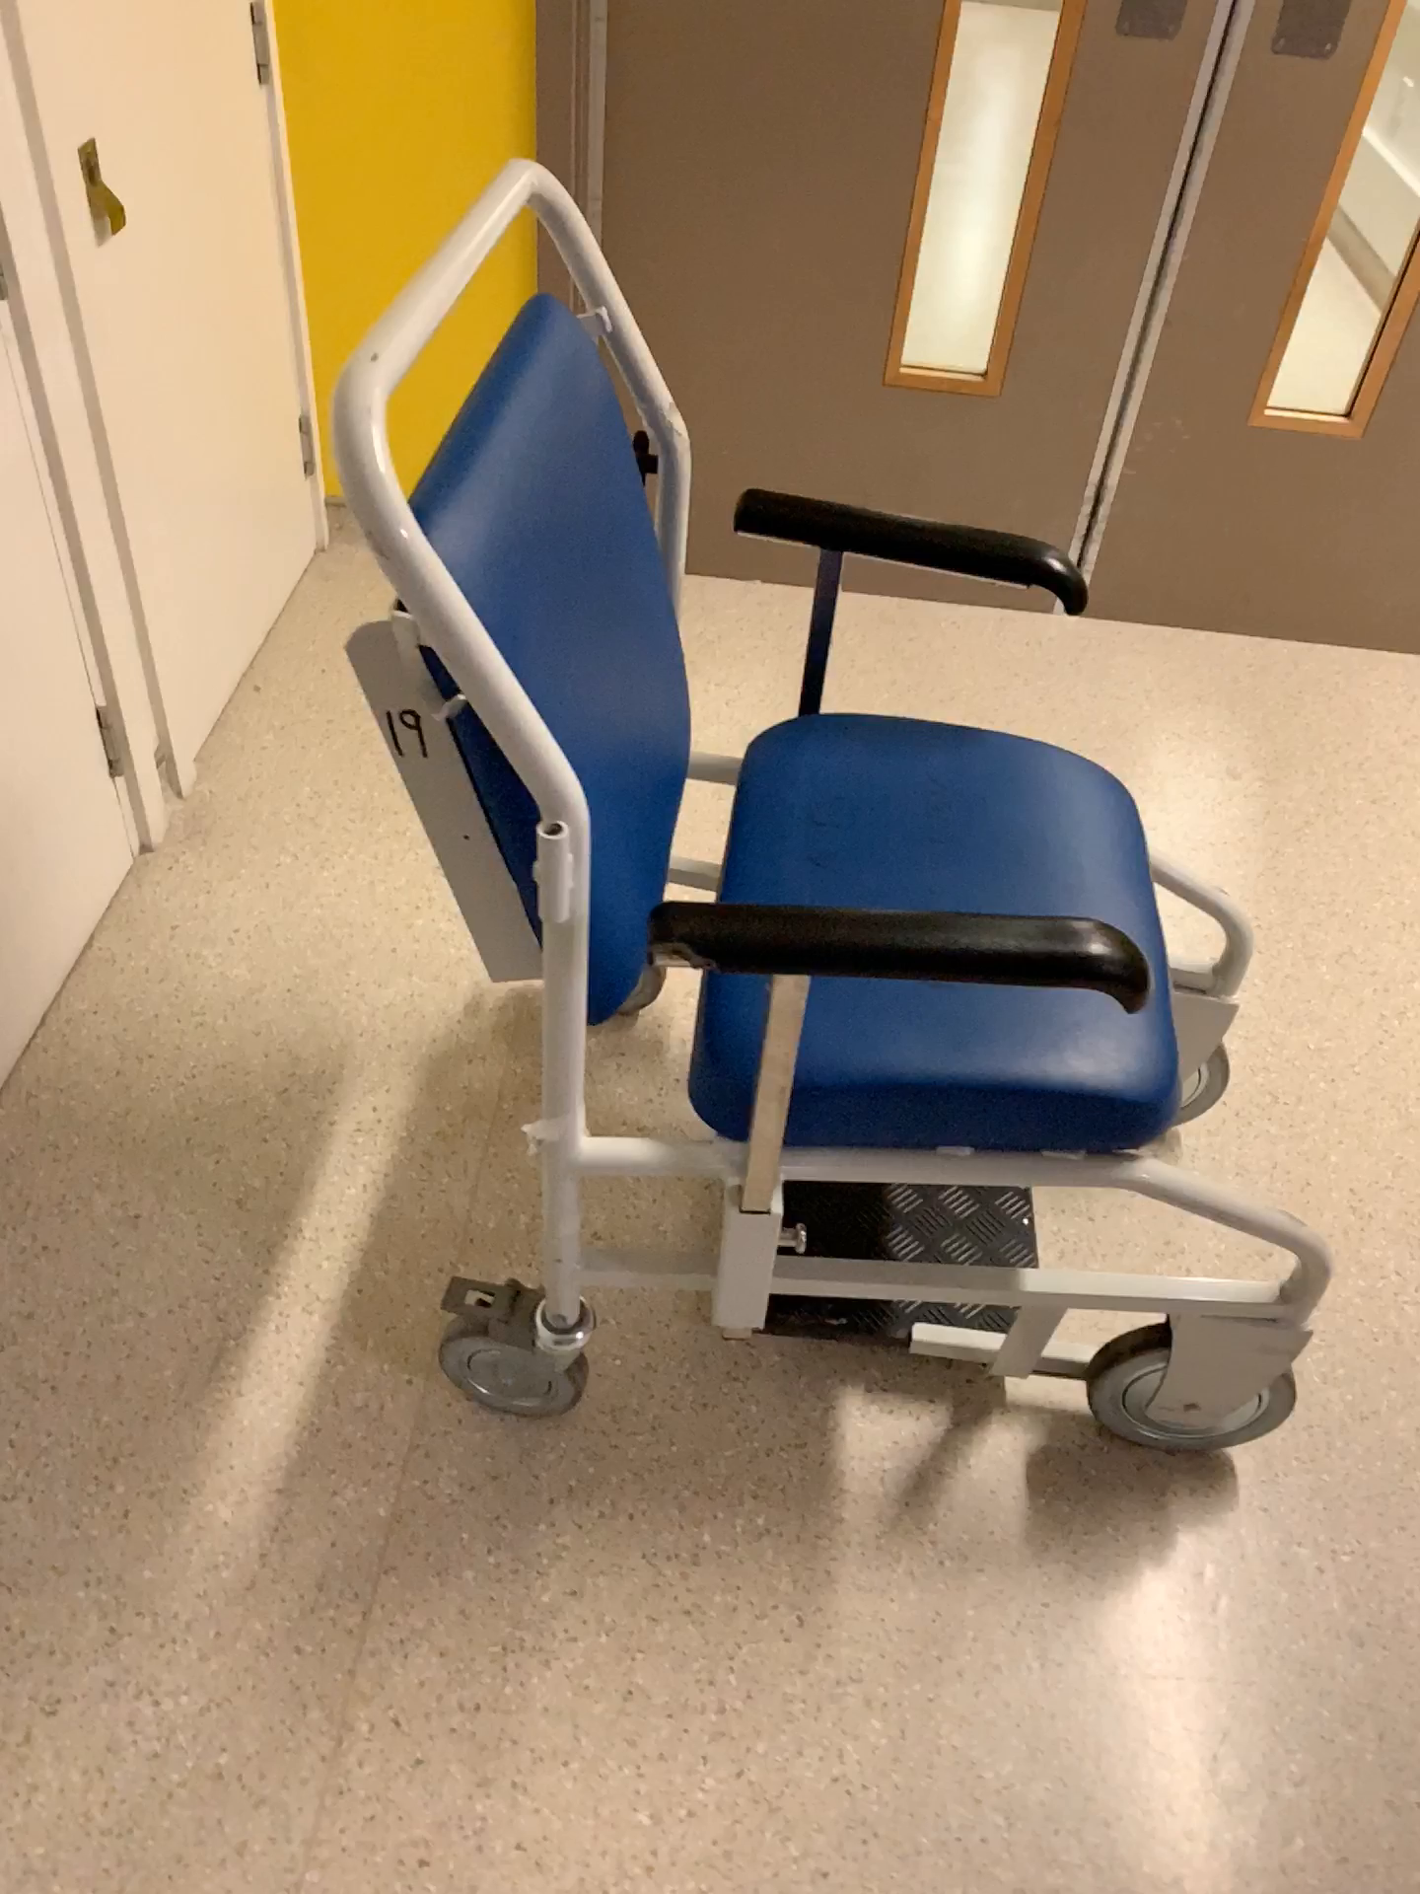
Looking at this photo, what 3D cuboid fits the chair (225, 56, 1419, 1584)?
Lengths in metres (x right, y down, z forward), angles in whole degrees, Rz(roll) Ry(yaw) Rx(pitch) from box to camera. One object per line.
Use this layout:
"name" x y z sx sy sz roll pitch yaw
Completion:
"chair" 0.230 -0.099 1.363 0.940 1.030 0.828 8 44 2
